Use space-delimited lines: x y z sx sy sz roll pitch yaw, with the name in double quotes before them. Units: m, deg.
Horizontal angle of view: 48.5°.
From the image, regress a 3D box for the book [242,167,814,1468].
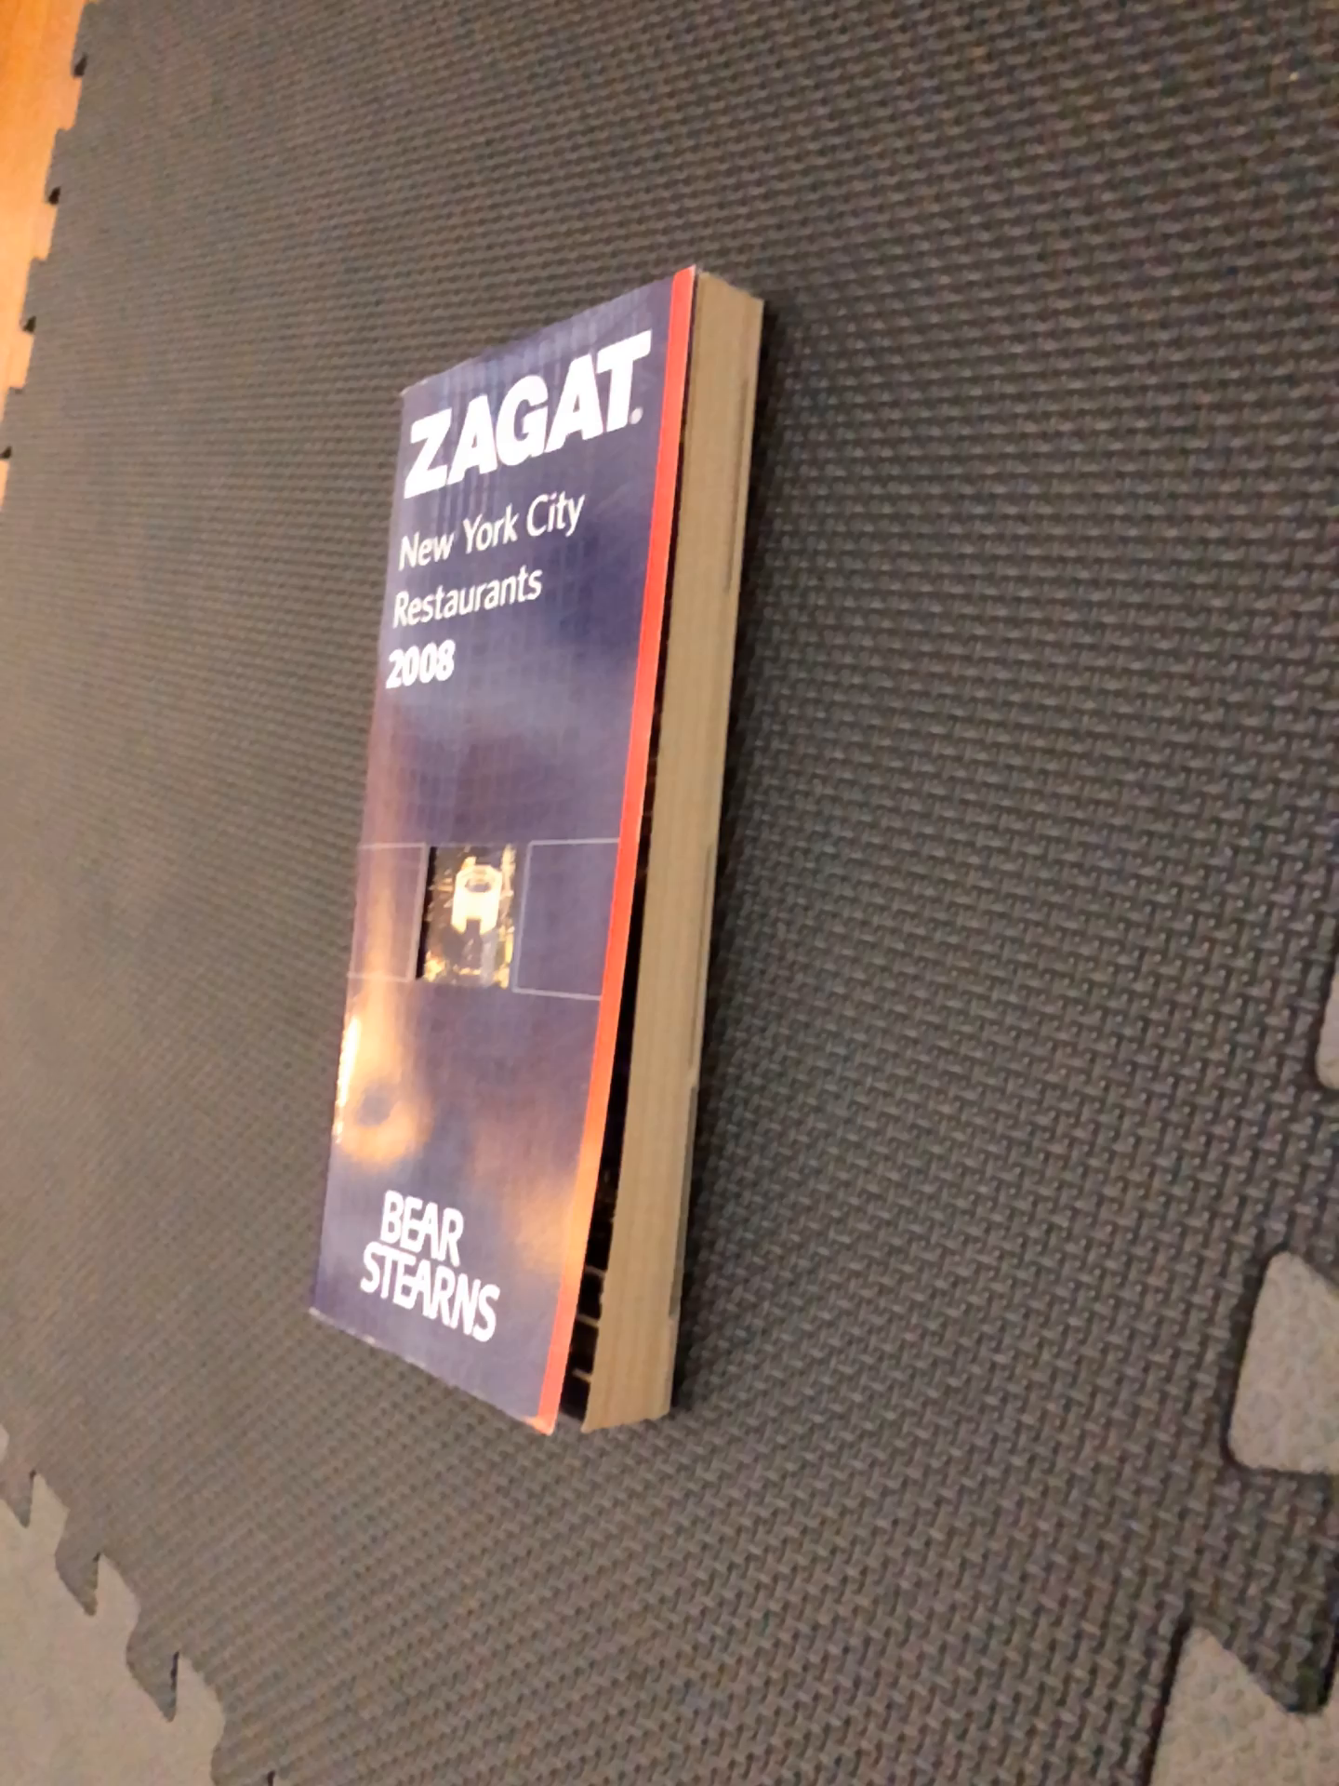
"book" -0.034 -0.015 0.303 0.121 0.030 0.220 0 84 46
